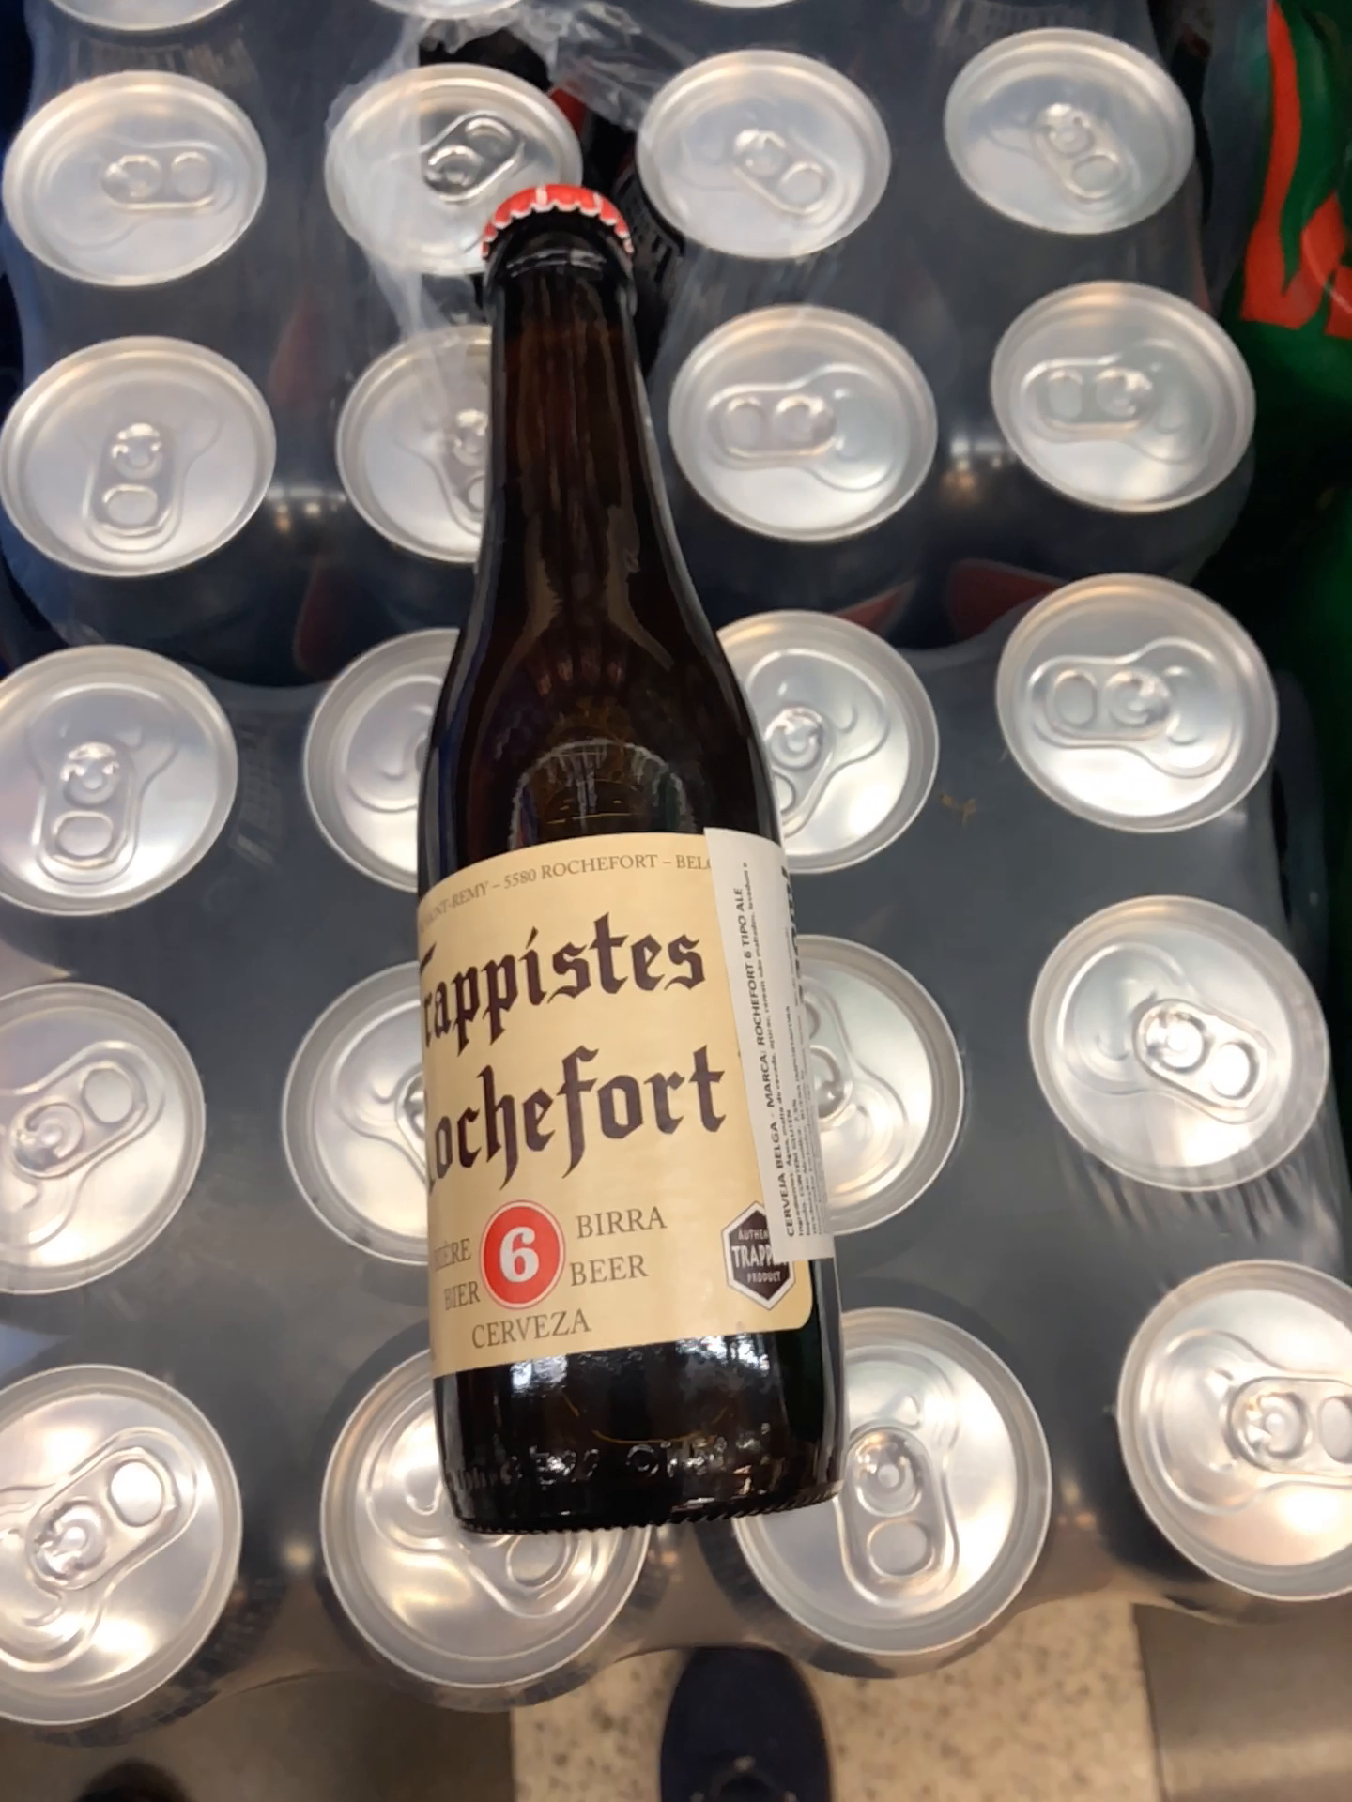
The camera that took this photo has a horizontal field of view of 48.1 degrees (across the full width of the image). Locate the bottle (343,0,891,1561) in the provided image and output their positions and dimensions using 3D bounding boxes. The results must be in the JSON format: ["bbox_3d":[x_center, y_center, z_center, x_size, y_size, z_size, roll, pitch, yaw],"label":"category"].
[{"bbox_3d":[-0.015,-0.030,0.244,0.060,0.050,0.241,-5,73,-3],"label":"bottle"}]
